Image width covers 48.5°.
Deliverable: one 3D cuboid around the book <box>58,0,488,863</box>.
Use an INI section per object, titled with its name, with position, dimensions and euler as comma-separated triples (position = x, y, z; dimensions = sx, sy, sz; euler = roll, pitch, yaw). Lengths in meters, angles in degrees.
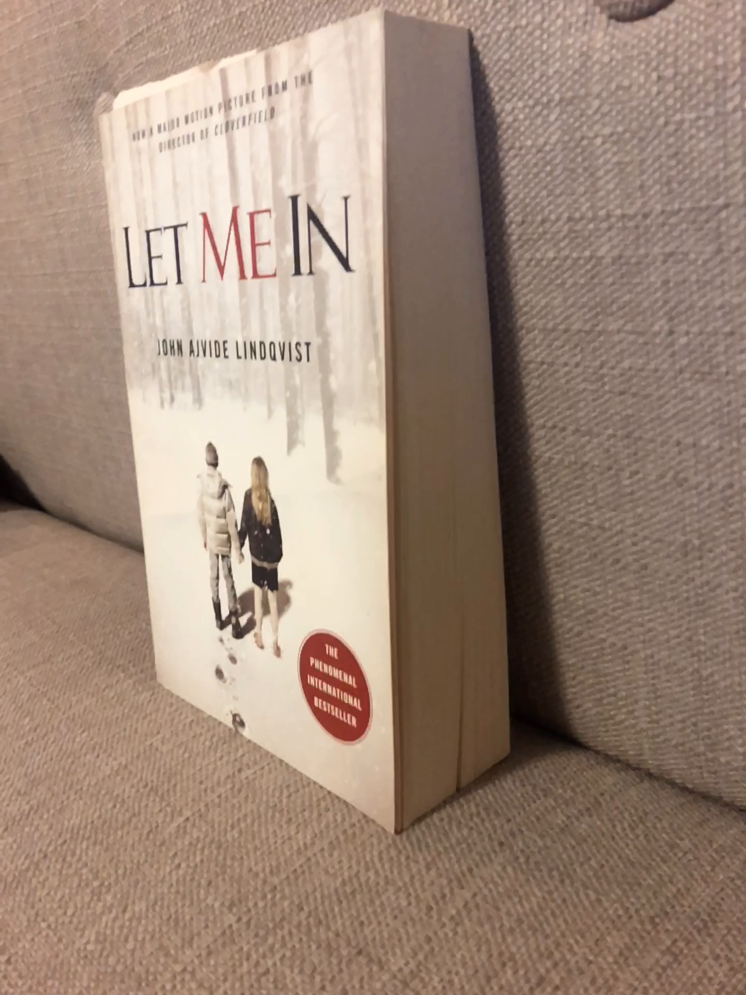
[book]
position = -0.037, -0.024, 0.263
dimensions = 0.043, 0.216, 0.147
euler = -12, 16, -43
